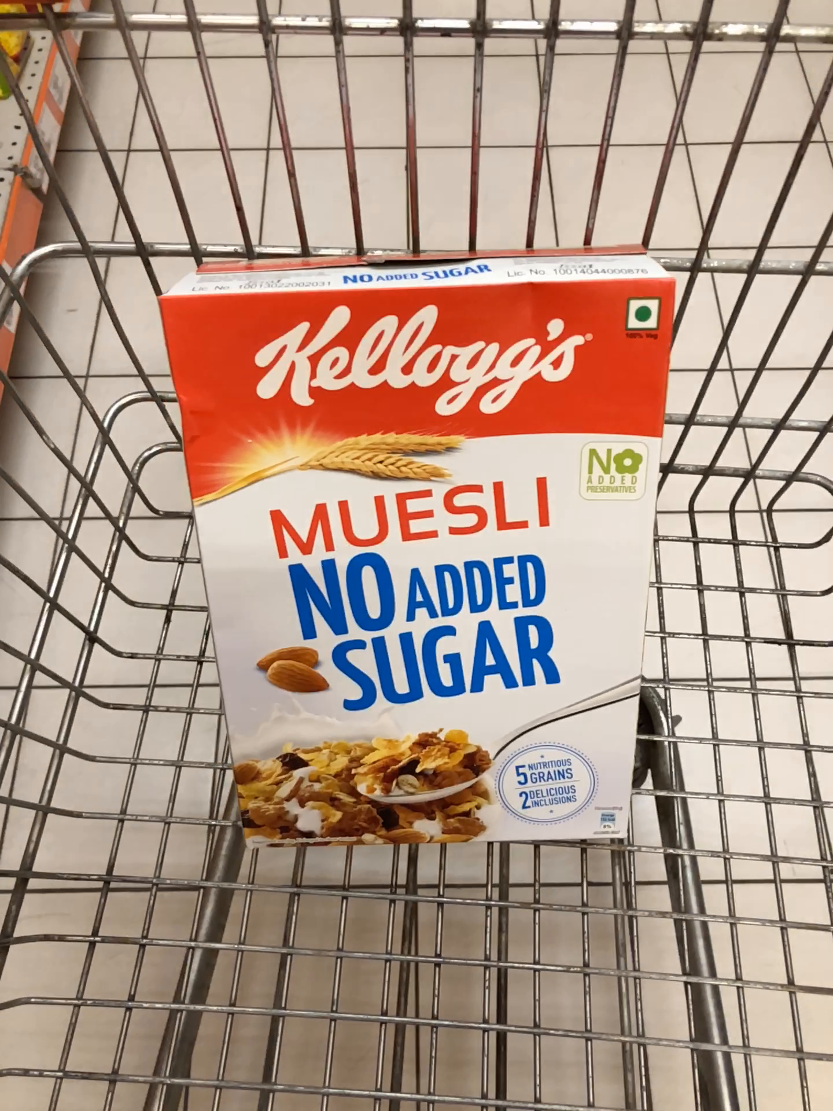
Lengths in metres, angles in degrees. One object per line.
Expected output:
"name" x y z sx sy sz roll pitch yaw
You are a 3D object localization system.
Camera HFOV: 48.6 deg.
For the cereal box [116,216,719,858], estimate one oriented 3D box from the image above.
"cereal box" 0.003 0.004 0.384 0.190 0.259 0.070 -2 29 0
